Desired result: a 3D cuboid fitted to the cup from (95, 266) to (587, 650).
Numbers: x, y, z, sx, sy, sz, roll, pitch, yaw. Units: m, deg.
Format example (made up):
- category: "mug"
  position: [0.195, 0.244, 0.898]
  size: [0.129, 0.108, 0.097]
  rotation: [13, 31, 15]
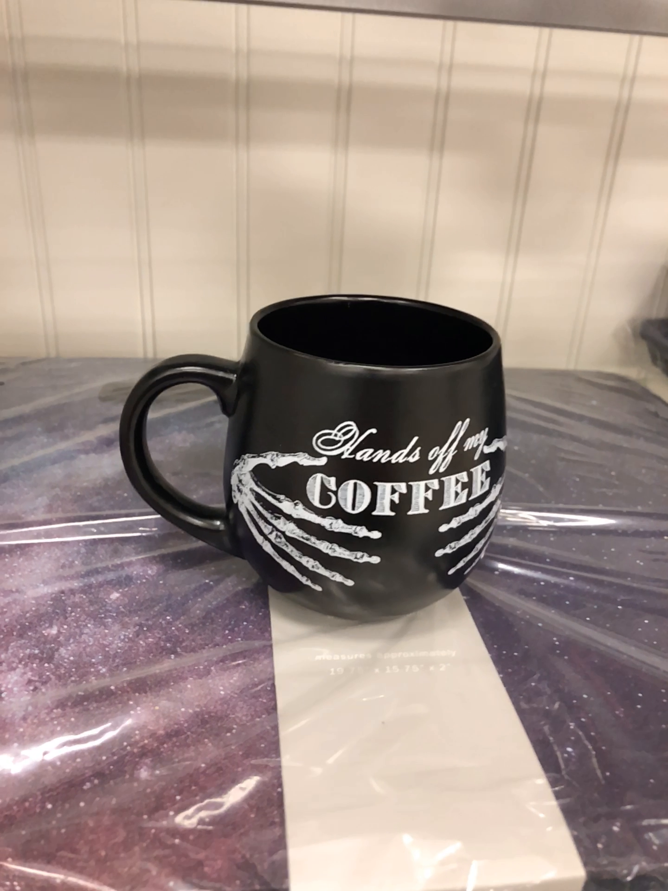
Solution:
- category: "cup"
  position: [0.001, -0.002, 0.278]
  size: [0.140, 0.099, 0.101]
  rotation: [4, 26, 1]
